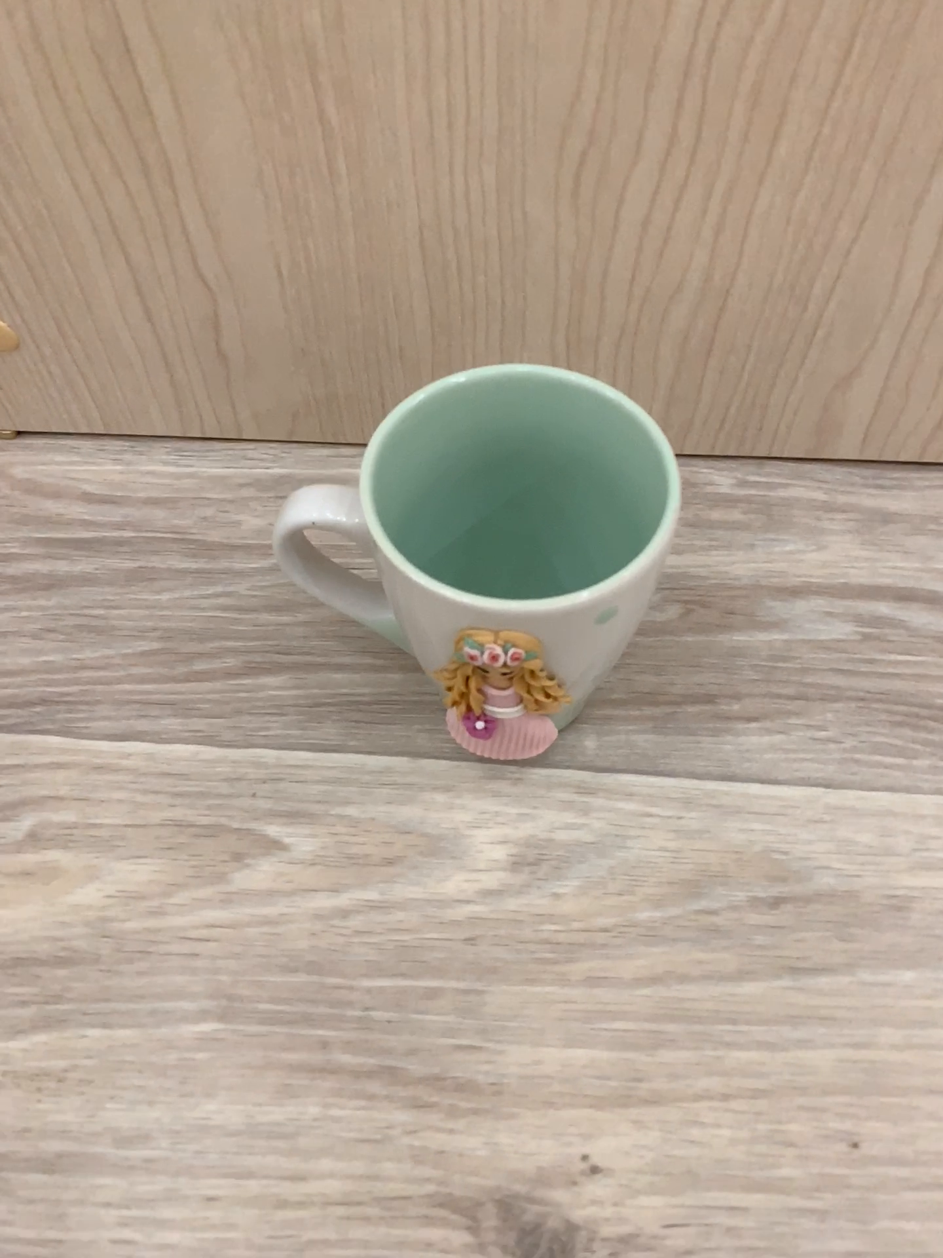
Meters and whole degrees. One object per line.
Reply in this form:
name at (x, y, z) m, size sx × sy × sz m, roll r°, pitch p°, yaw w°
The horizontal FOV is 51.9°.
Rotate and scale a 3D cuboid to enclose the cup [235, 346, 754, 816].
cup at (0.008, -0.012, 0.267) m, size 0.111 × 0.080 × 0.093 m, roll 4°, pitch 56°, yaw 3°
